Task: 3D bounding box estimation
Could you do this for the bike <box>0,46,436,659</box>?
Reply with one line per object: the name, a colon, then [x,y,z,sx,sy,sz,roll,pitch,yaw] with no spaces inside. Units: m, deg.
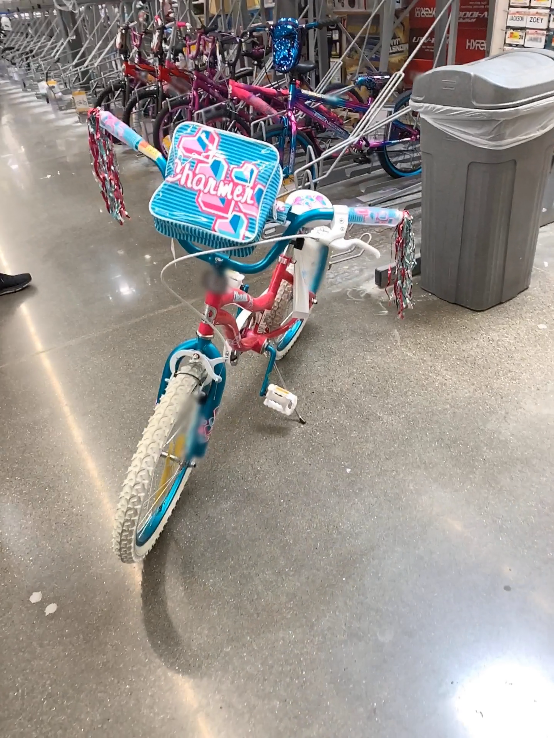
bike: [-0.066,-0.165,1.511,0.653,0.929,1.267,8,39,21]
